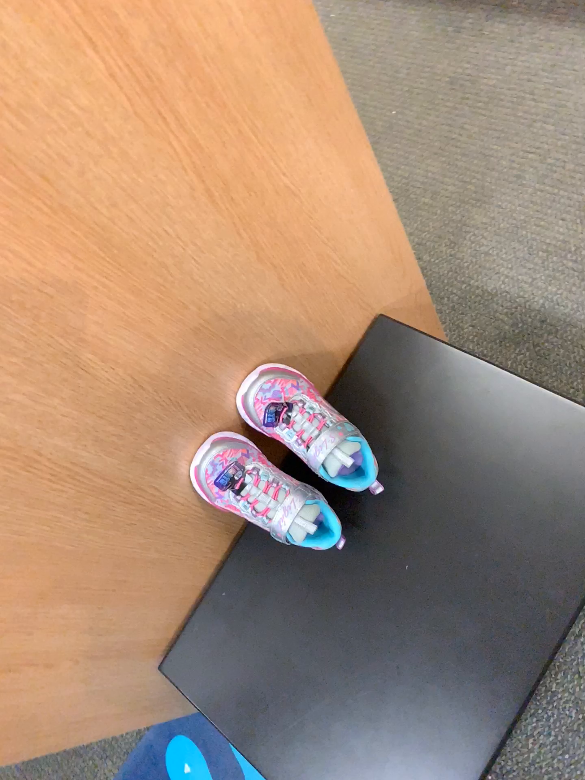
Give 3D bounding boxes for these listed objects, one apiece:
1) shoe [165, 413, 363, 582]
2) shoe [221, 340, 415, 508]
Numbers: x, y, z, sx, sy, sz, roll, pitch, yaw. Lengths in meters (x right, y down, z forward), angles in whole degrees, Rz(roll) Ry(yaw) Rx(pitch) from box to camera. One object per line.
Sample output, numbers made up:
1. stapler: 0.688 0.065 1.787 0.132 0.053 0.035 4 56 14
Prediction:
1. shoe: -0.034 0.117 0.668 0.090 0.180 0.100 -58 21 -7
2. shoe: 0.027 0.036 0.681 0.090 0.180 0.100 -54 20 -5
